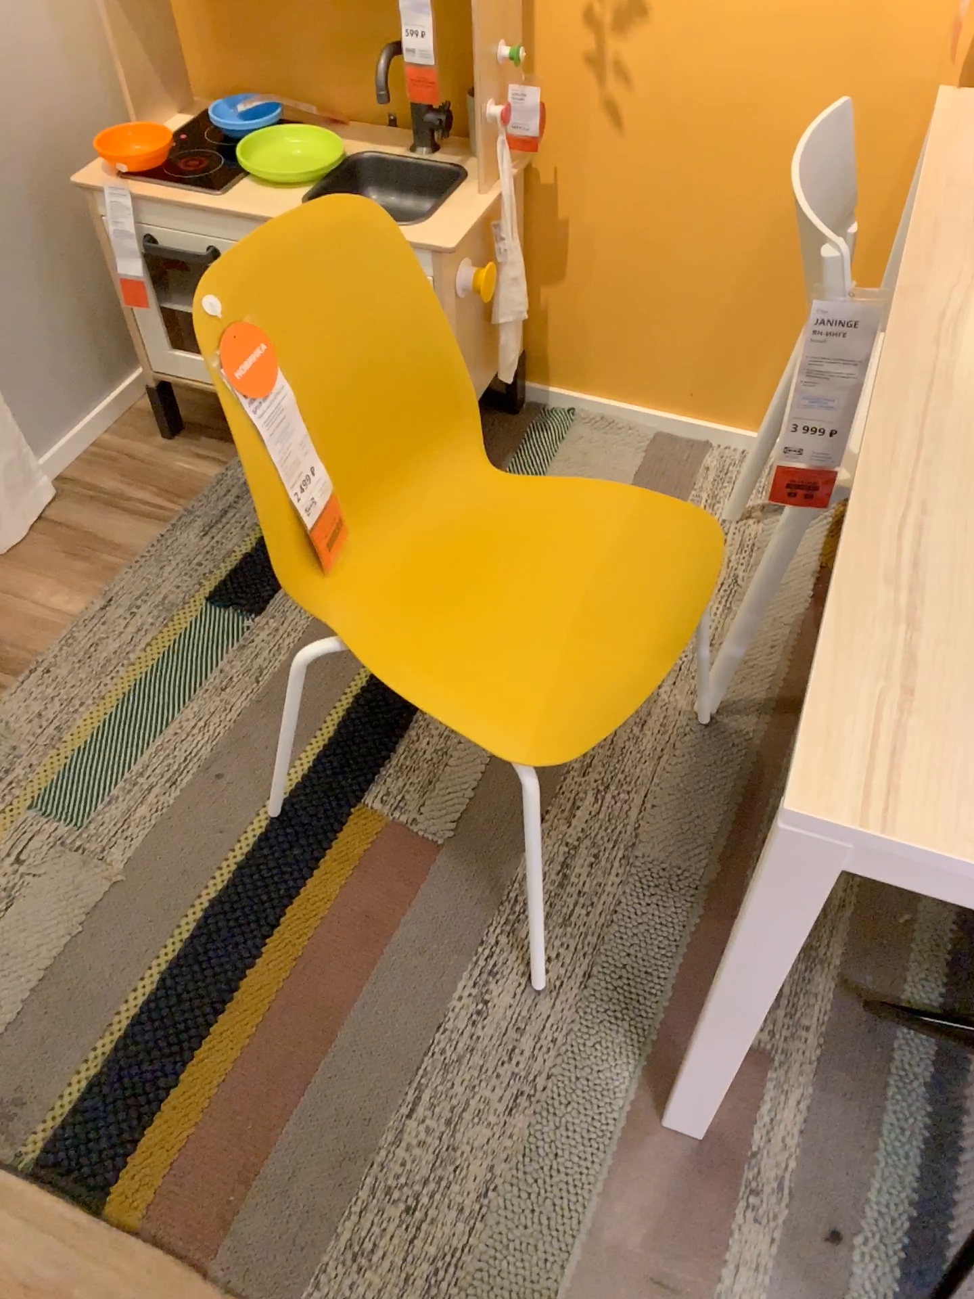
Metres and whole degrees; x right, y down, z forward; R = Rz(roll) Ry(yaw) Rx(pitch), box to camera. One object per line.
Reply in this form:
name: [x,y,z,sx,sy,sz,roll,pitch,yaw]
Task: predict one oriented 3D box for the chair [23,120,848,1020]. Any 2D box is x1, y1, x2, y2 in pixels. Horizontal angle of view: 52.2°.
chair: [-0.011,-0.071,1.224,0.555,0.809,0.559,22,54,19]
